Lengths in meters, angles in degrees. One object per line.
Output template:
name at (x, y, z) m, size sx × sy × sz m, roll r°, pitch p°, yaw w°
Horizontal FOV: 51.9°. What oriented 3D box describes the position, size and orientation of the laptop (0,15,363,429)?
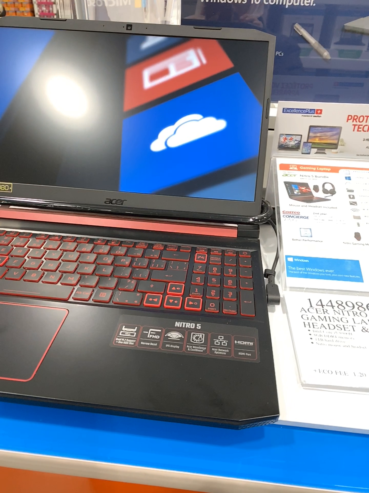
laptop at (-0.095, -0.093, 0.373) m, size 0.358 × 0.198 × 0.381 m, roll 5°, pitch 34°, yaw 5°
